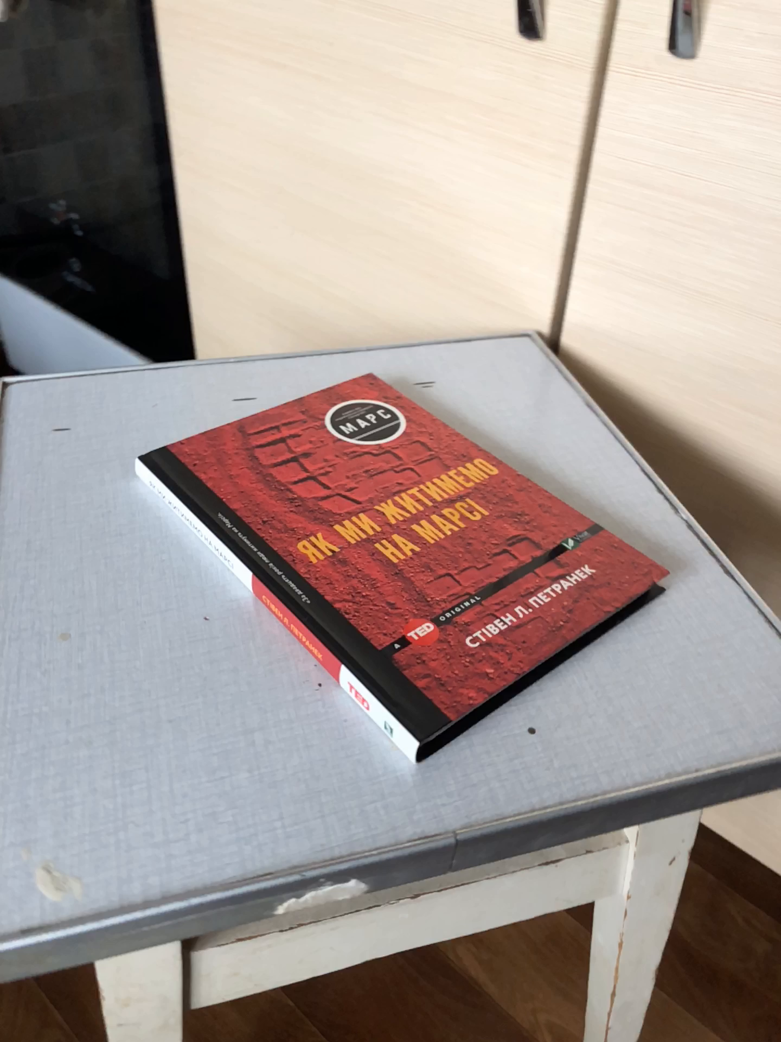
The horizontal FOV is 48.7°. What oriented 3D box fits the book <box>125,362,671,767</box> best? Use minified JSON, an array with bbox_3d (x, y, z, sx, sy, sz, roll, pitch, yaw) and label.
[{"bbox_3d":[-0.005,-0.002,0.396,0.146,0.015,0.214,-26,47,-30],"label":"book"}]
